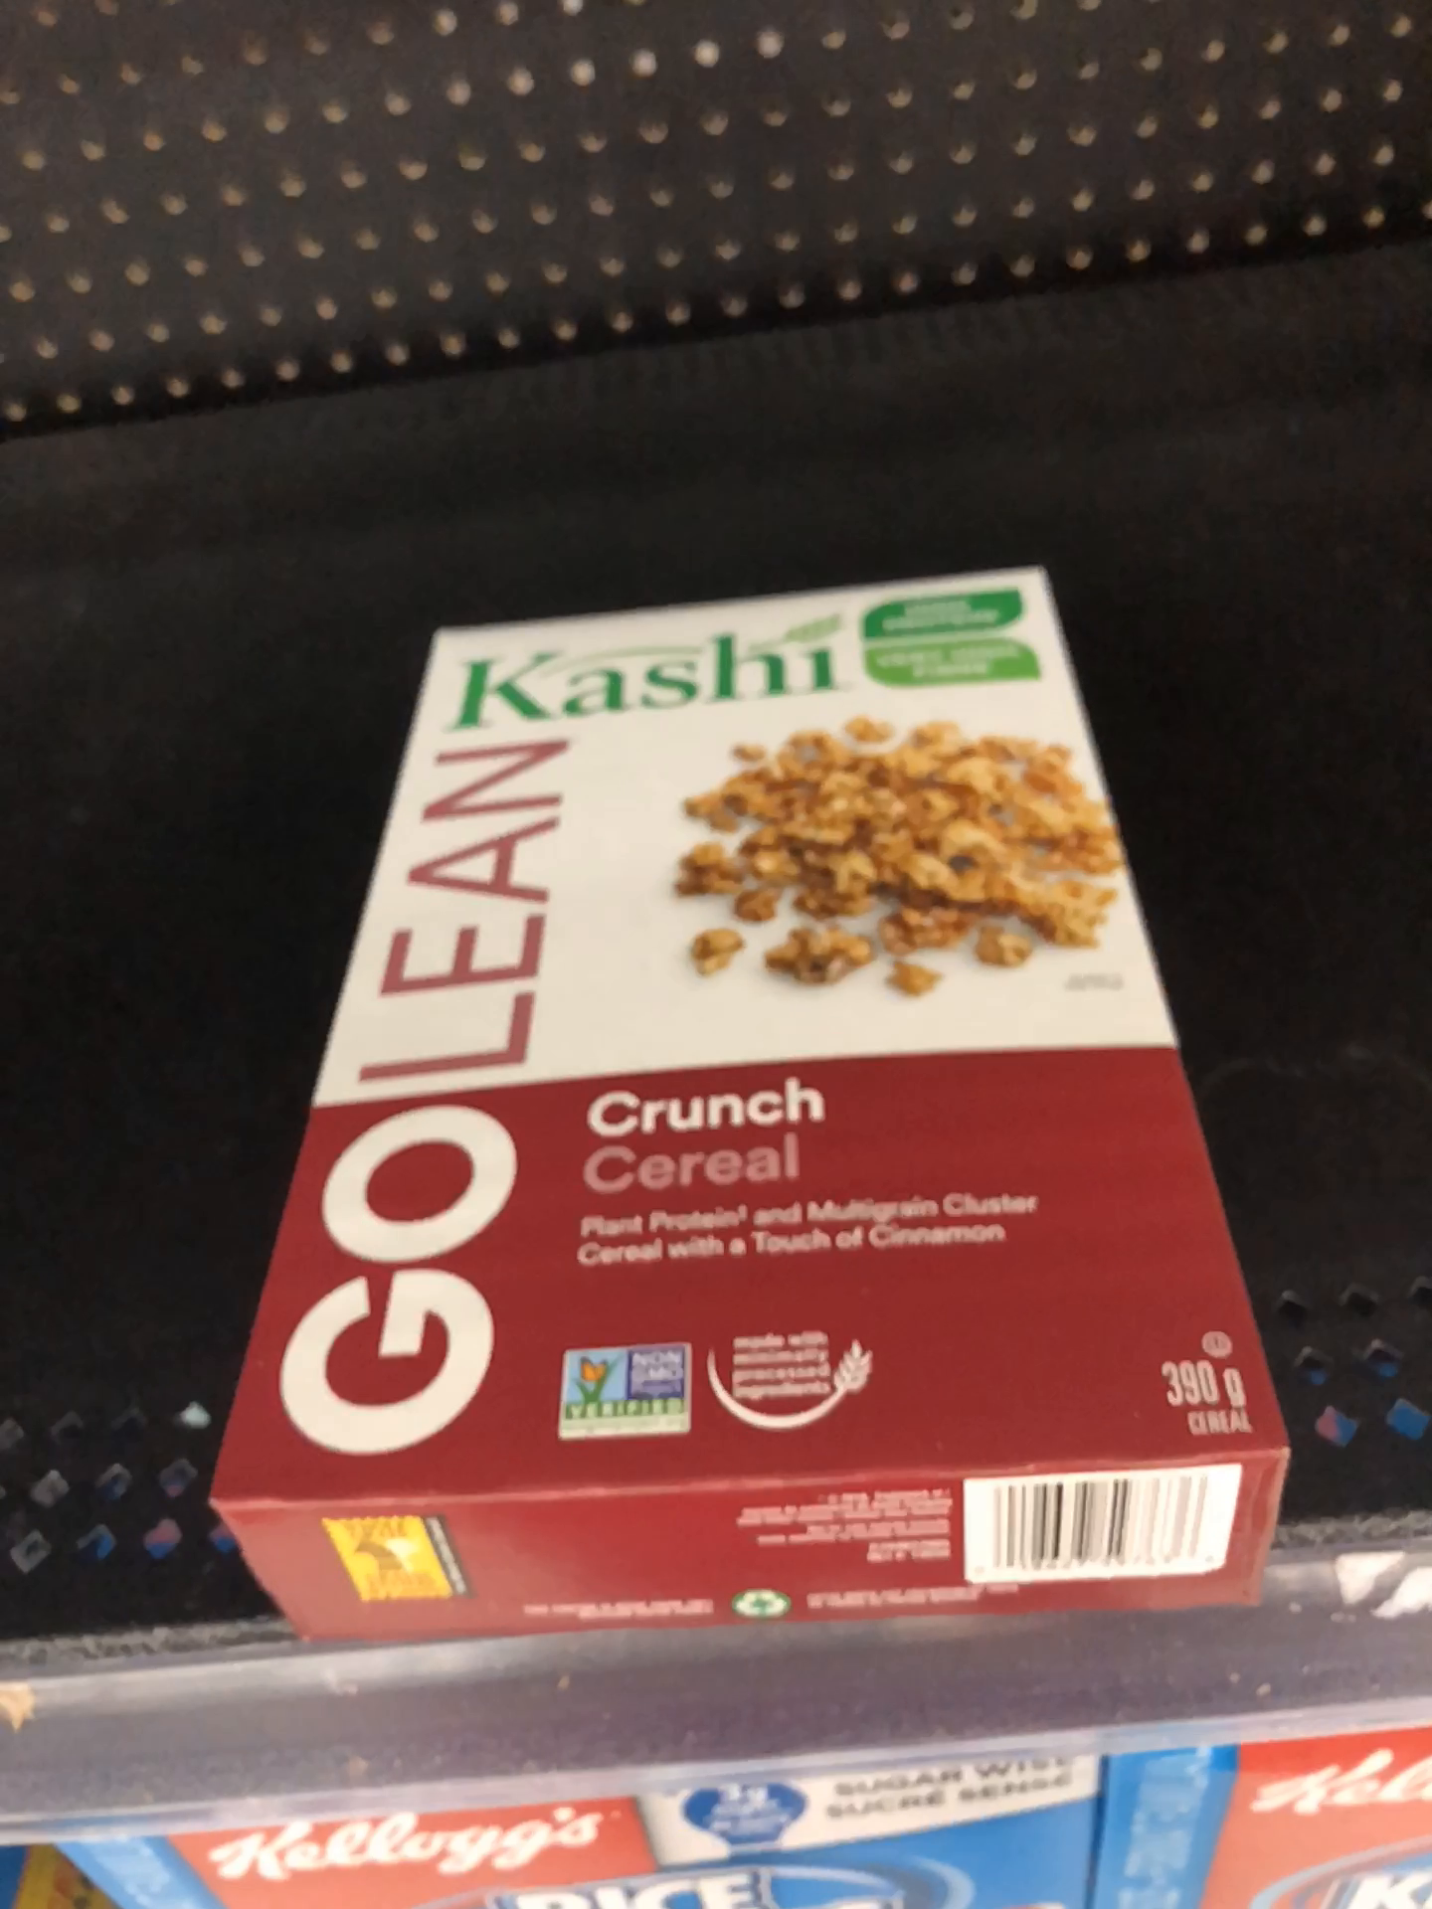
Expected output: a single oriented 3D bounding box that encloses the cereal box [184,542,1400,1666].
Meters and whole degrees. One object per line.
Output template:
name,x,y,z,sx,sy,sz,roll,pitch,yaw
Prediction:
cereal box,0.012,0.003,0.367,0.180,0.050,0.291,-4,40,4
